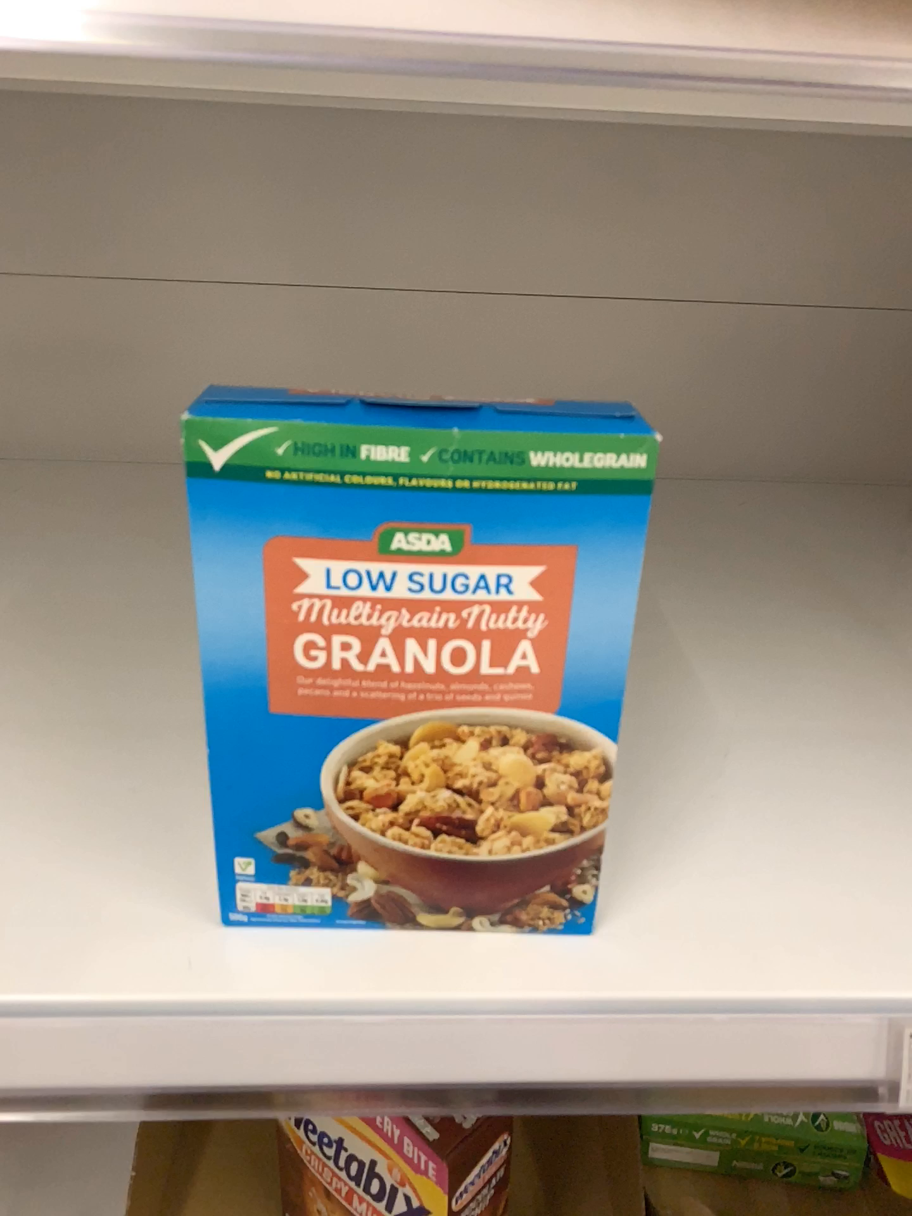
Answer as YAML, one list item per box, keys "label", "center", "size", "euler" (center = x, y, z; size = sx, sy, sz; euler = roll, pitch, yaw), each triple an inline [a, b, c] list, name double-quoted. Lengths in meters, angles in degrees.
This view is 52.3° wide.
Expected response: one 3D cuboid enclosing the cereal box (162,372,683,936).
- label: "cereal box"
  center: [-0.017, 0.030, 0.419]
  size: [0.190, 0.248, 0.061]
  euler: [2, 26, -2]
